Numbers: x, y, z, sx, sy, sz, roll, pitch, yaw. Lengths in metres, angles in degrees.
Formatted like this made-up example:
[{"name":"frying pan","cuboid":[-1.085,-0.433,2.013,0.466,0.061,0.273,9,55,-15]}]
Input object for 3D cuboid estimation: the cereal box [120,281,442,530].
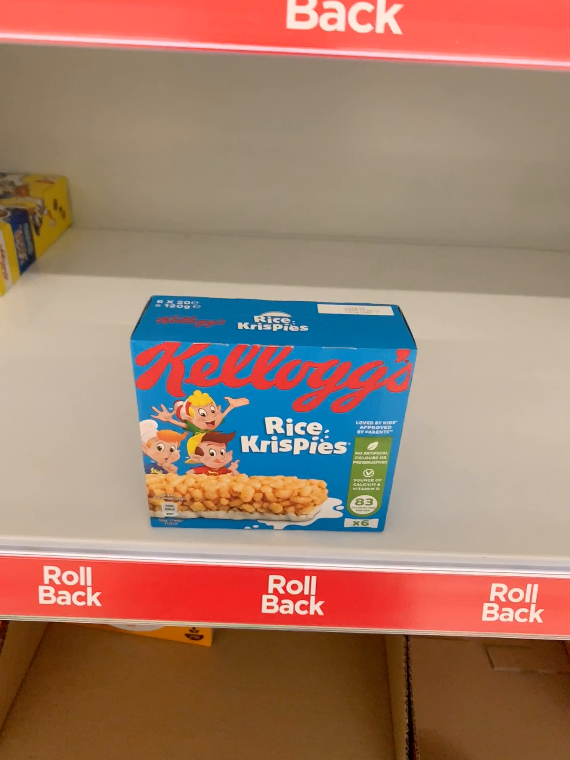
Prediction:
[{"name":"cereal box","cuboid":[-0.004,0.018,0.332,0.150,0.129,0.050,2,33,-2]}]
